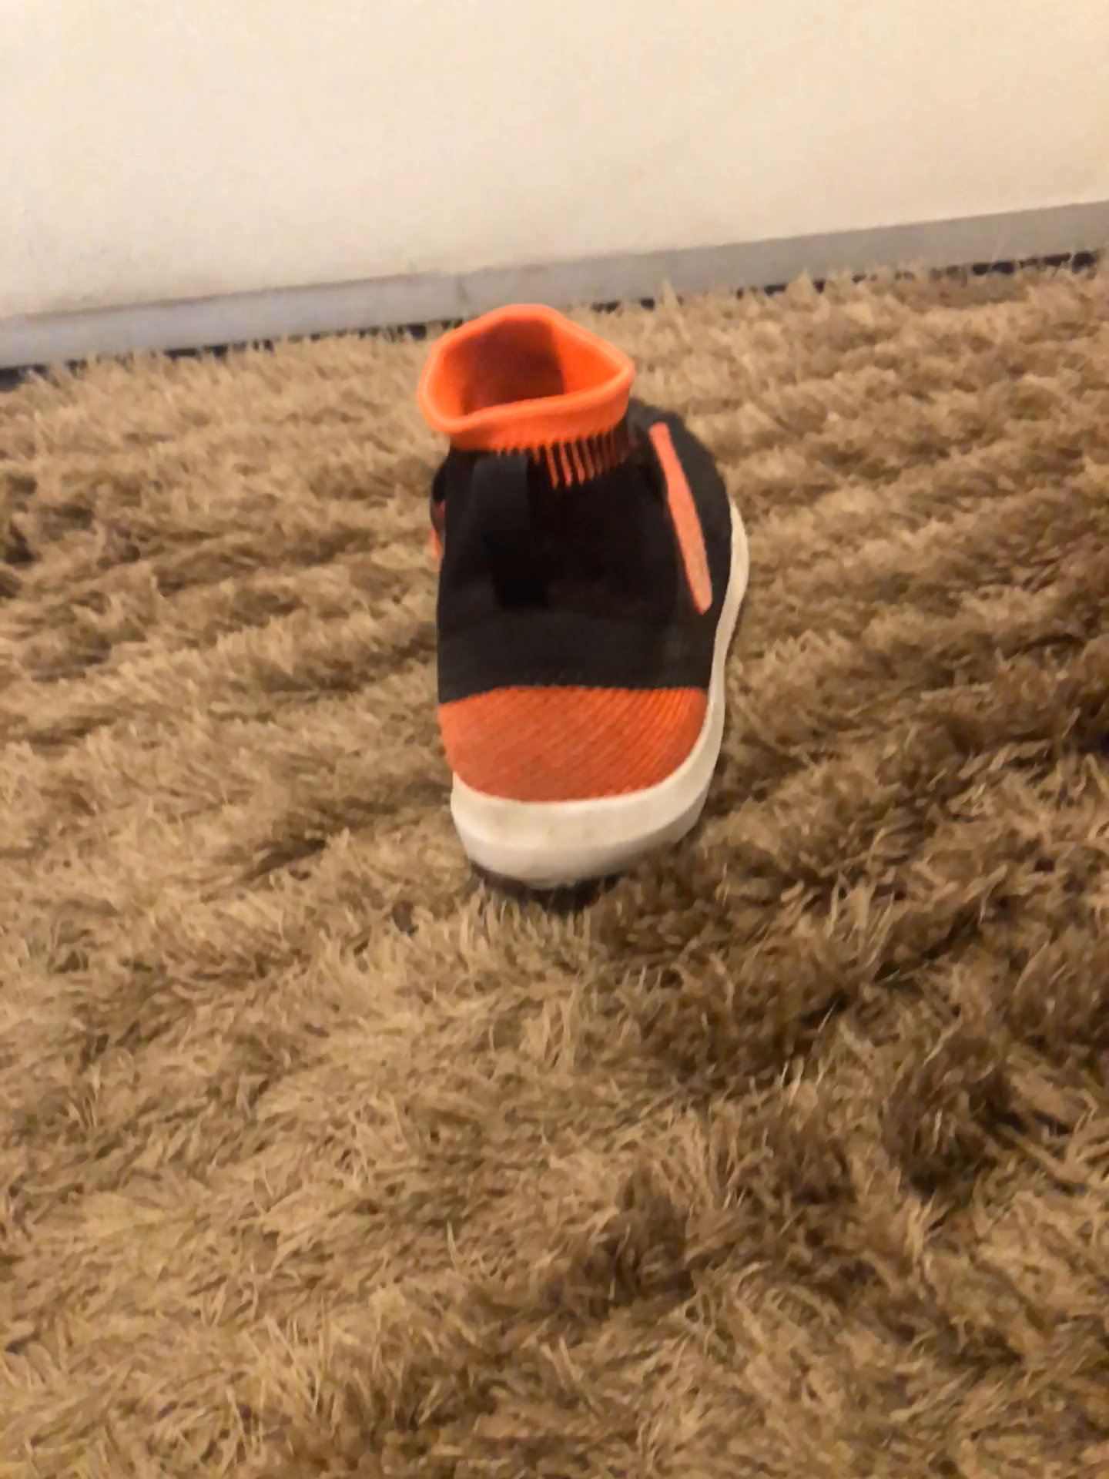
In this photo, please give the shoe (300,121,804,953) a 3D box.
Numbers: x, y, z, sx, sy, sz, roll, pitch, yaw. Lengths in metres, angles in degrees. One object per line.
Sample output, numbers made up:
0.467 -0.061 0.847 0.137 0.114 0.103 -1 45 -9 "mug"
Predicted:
0.020 -0.091 0.424 0.110 0.139 0.304 -1 41 8 "shoe"
